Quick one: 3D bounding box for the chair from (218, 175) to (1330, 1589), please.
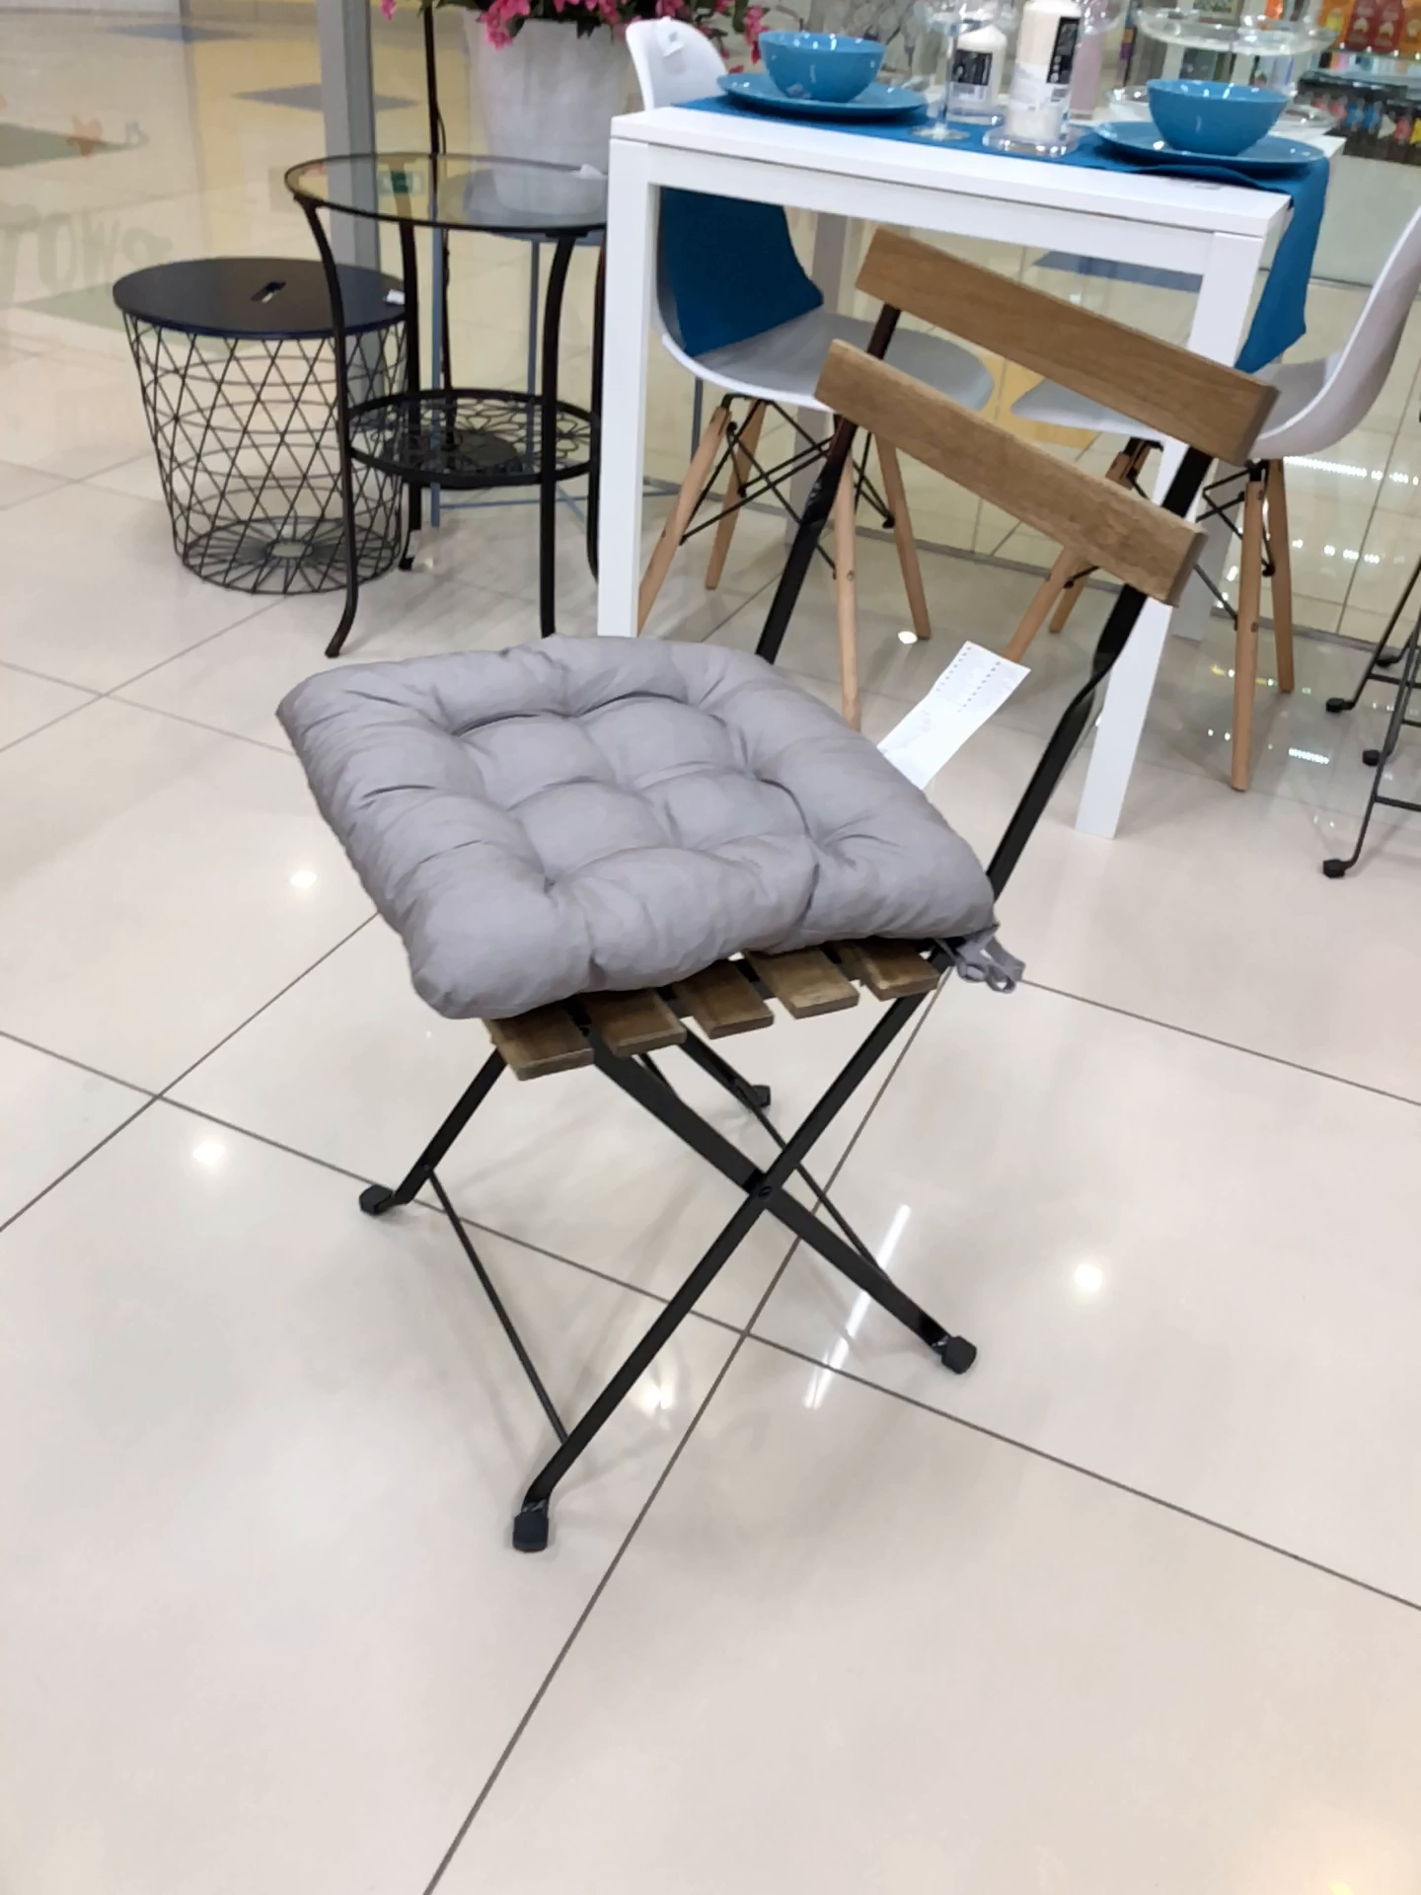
[{"bbox_3d":[-0.017,-0.059,1.053,0.441,0.764,0.442,-14,39,-25],"label":"chair"}]
